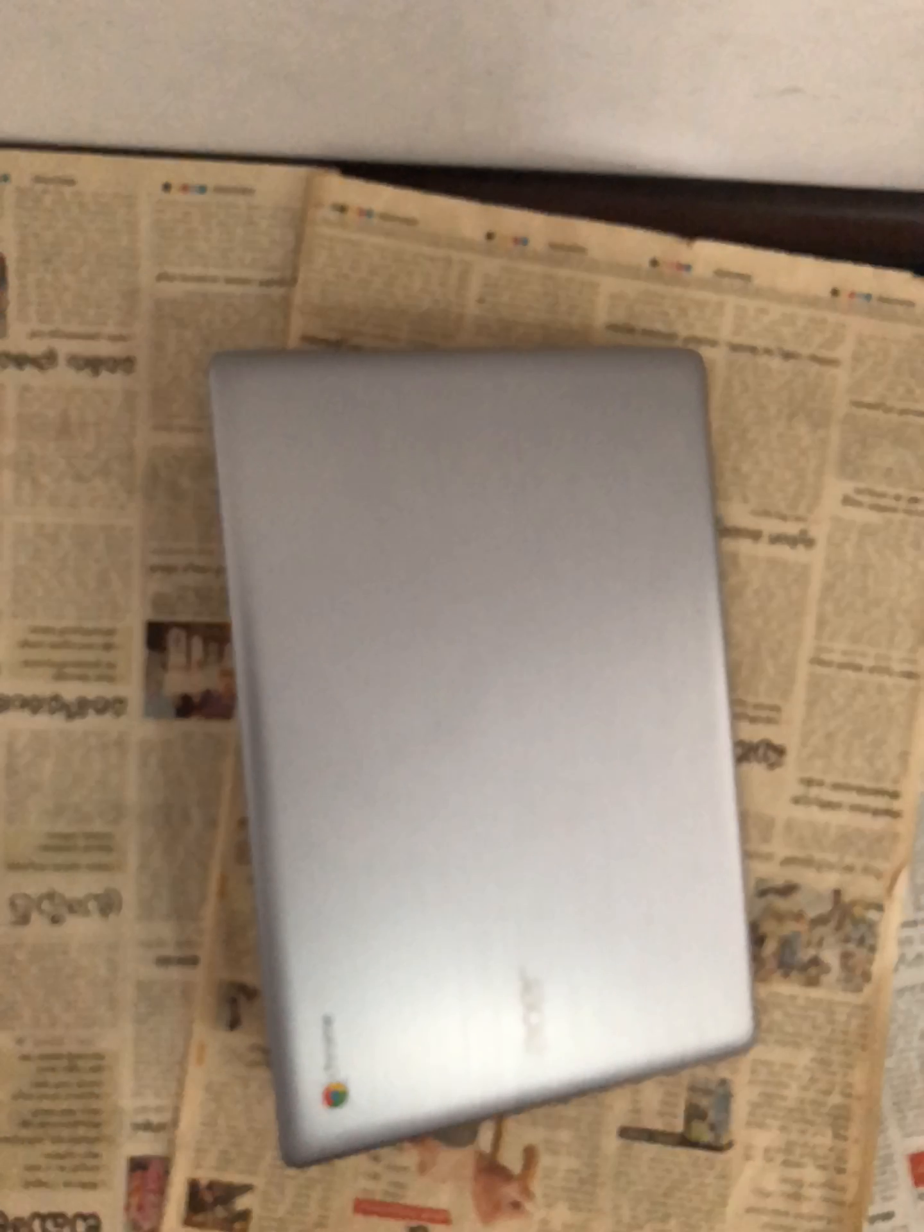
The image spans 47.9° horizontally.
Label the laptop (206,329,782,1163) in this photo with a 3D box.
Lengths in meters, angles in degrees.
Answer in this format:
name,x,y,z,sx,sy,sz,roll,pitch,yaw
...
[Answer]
name,x,y,z,sx,sy,sz,roll,pitch,yaw
laptop,0.013,0.051,0.457,0.210,0.058,0.330,-4,90,-3
